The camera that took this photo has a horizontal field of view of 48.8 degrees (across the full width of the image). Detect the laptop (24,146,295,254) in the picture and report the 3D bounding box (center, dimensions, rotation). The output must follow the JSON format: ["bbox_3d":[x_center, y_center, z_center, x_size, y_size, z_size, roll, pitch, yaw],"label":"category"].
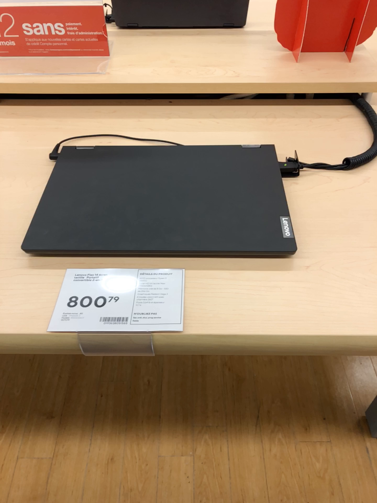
[{"bbox_3d":[-0.032,-0.079,0.572,0.326,0.009,0.212,0,48,0],"label":"laptop"}]
